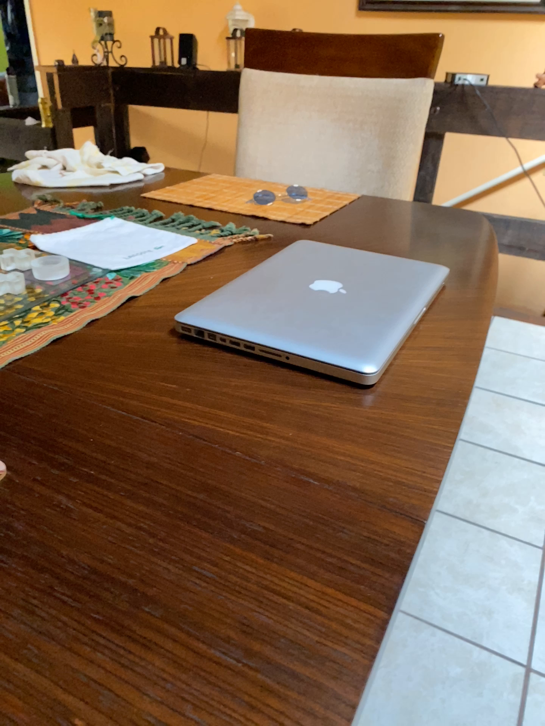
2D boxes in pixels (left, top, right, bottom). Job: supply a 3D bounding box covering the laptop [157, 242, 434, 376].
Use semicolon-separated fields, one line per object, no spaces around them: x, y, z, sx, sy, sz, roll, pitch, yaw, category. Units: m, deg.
0.050;-0.087;0.693;0.232;0.002;0.325;15;32;22;laptop
